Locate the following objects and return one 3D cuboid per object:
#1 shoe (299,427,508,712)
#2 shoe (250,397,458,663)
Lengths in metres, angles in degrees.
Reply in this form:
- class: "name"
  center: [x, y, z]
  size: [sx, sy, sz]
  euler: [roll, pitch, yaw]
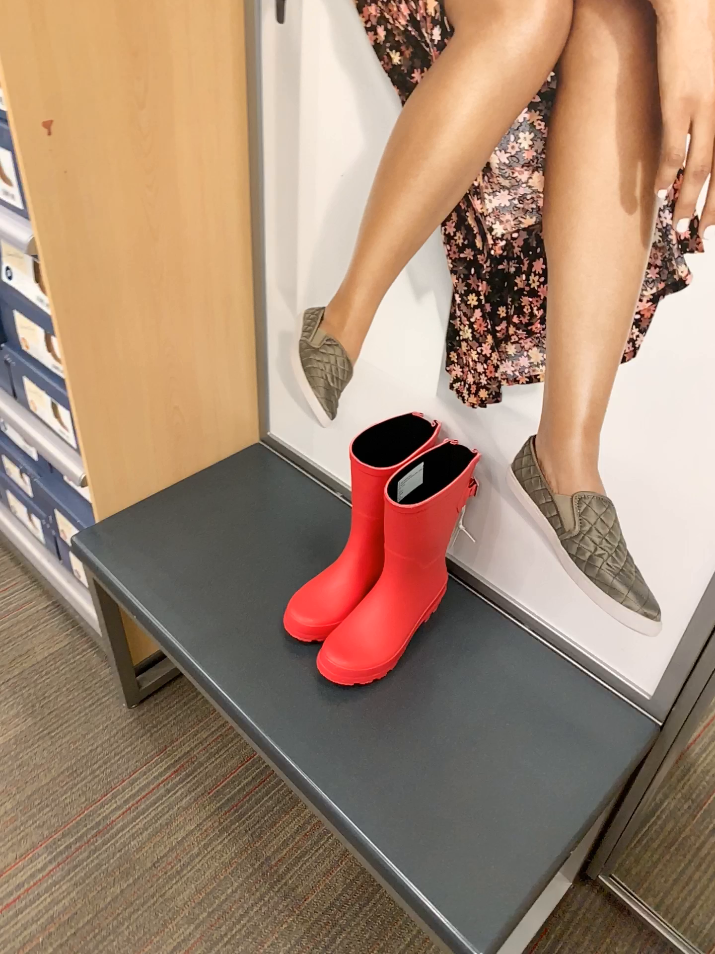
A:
- class: "shoe"
  center: [0.057, 0.113, 0.950]
  size: [0.106, 0.249, 0.271]
  euler: [29, 44, 28]
- class: "shoe"
  center: [-0.005, 0.066, 0.995]
  size: [0.106, 0.249, 0.271]
  euler: [32, 46, 31]
